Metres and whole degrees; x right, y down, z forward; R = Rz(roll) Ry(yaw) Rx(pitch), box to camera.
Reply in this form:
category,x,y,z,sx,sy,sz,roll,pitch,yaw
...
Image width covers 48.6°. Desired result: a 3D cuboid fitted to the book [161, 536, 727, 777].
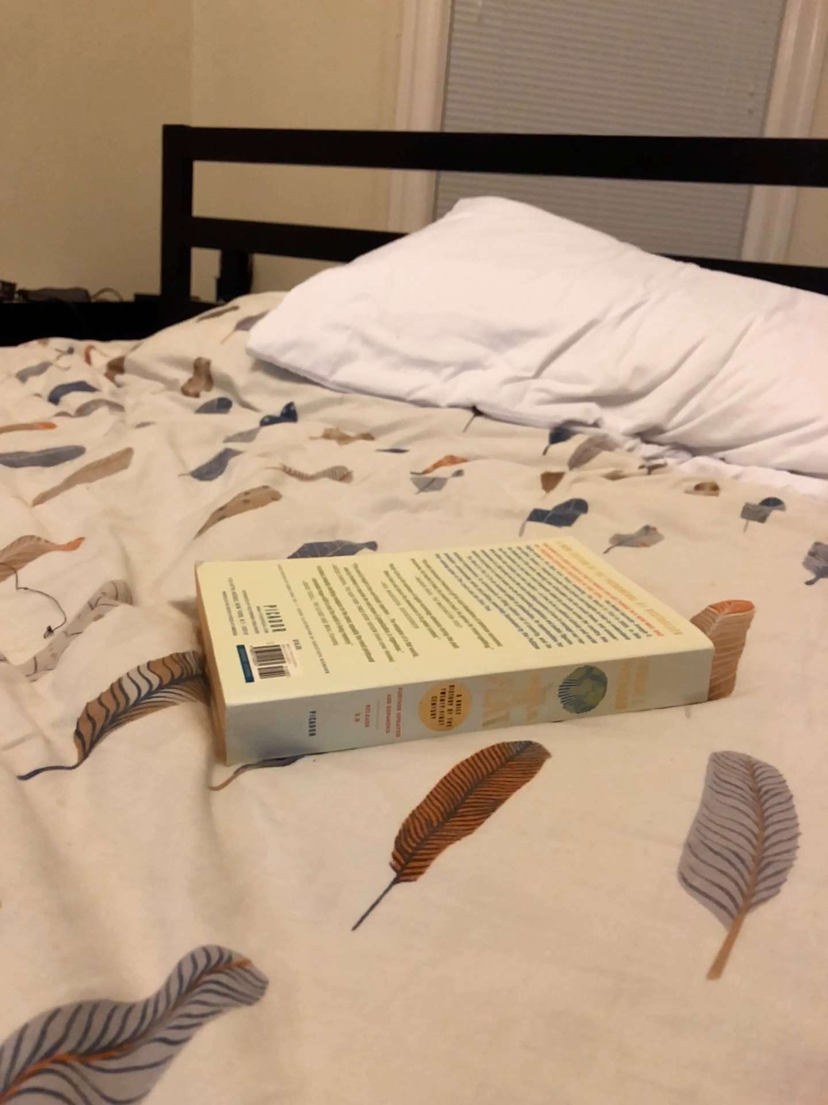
category,x,y,z,sx,sy,sz,roll,pitch,yaw
book,0.004,0.035,0.427,0.220,0.040,0.150,-3,16,-21
